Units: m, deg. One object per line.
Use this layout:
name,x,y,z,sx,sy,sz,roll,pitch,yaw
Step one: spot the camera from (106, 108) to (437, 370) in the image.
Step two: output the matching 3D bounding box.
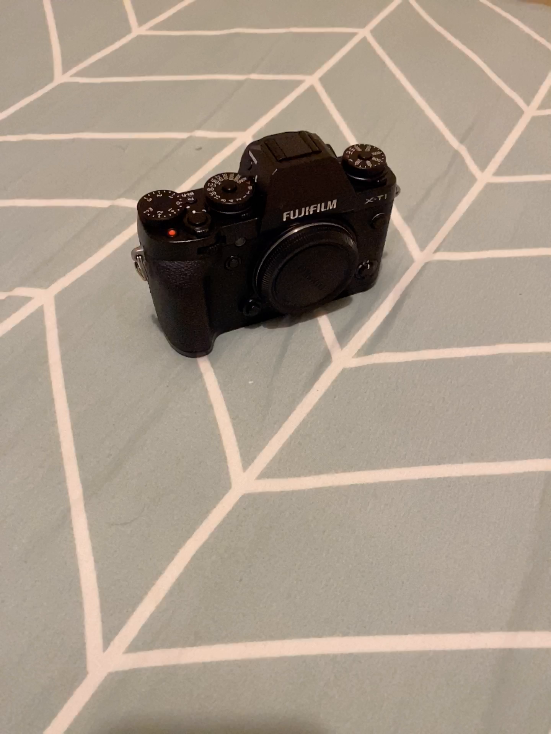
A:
camera,-0.001,-0.066,0.292,0.142,0.082,0.054,-19,55,-13
